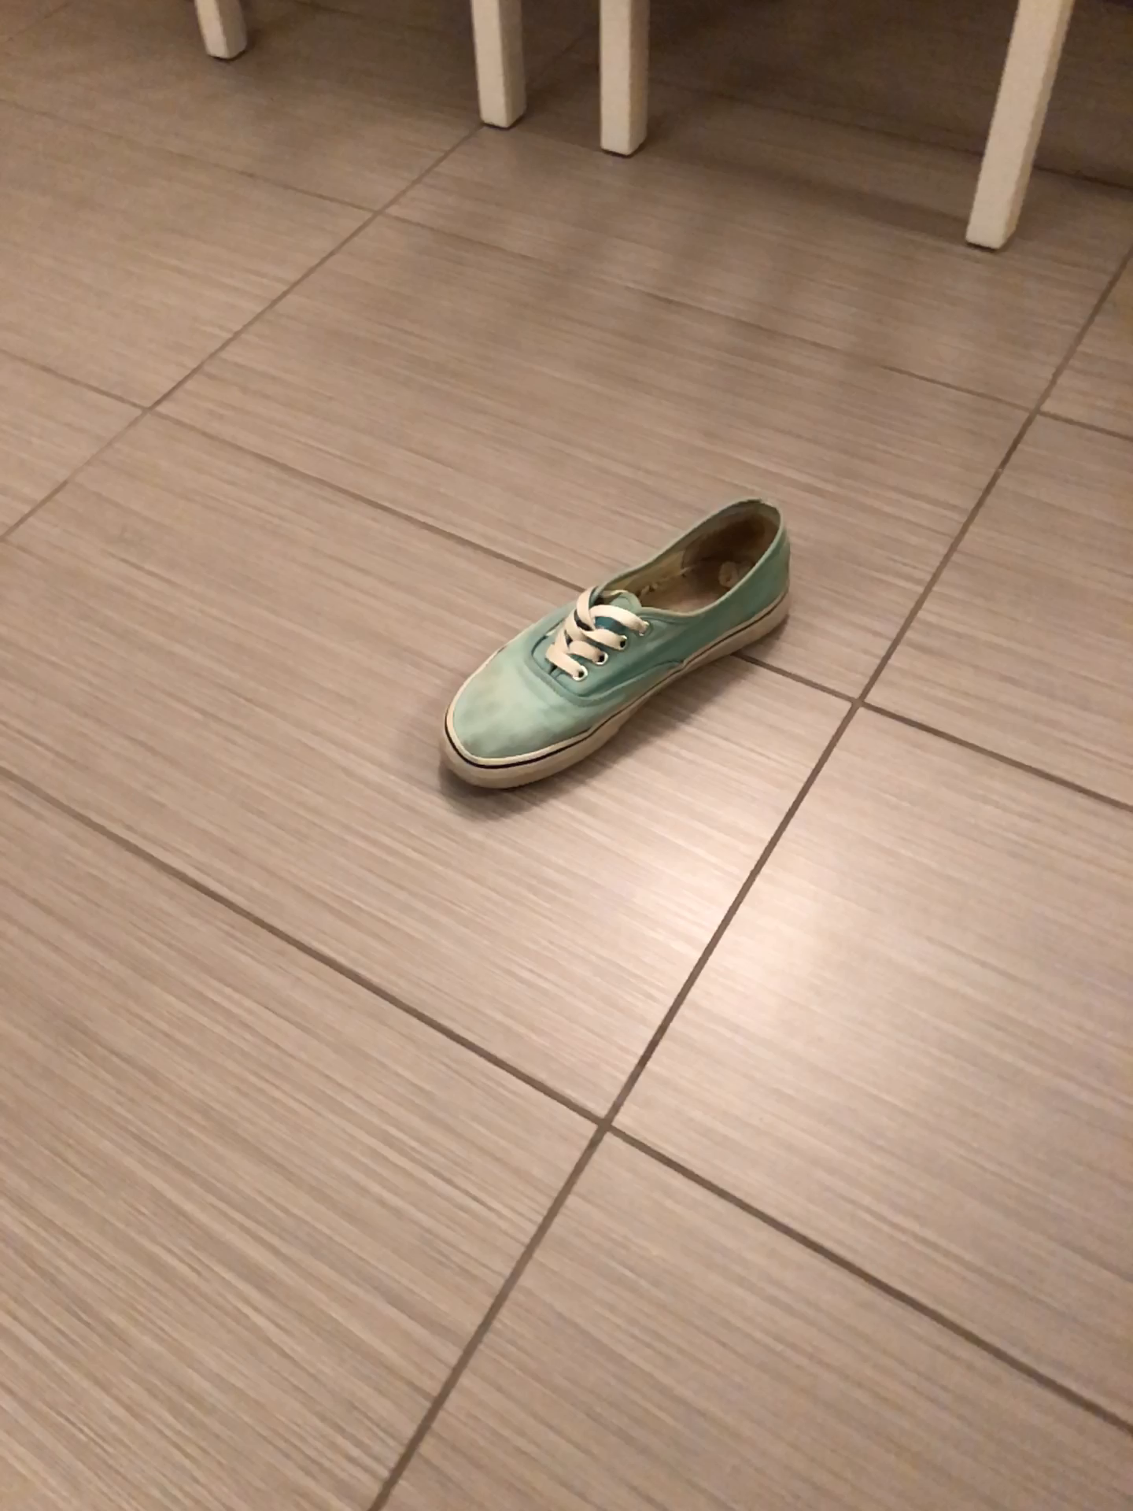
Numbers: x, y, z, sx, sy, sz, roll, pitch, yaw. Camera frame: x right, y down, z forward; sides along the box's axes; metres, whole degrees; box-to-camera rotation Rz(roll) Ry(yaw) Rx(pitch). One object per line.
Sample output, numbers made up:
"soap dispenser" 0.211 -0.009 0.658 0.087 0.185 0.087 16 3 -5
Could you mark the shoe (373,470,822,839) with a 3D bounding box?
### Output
"shoe" 0.024 -0.066 0.765 0.260 0.080 0.090 -30 56 -15
